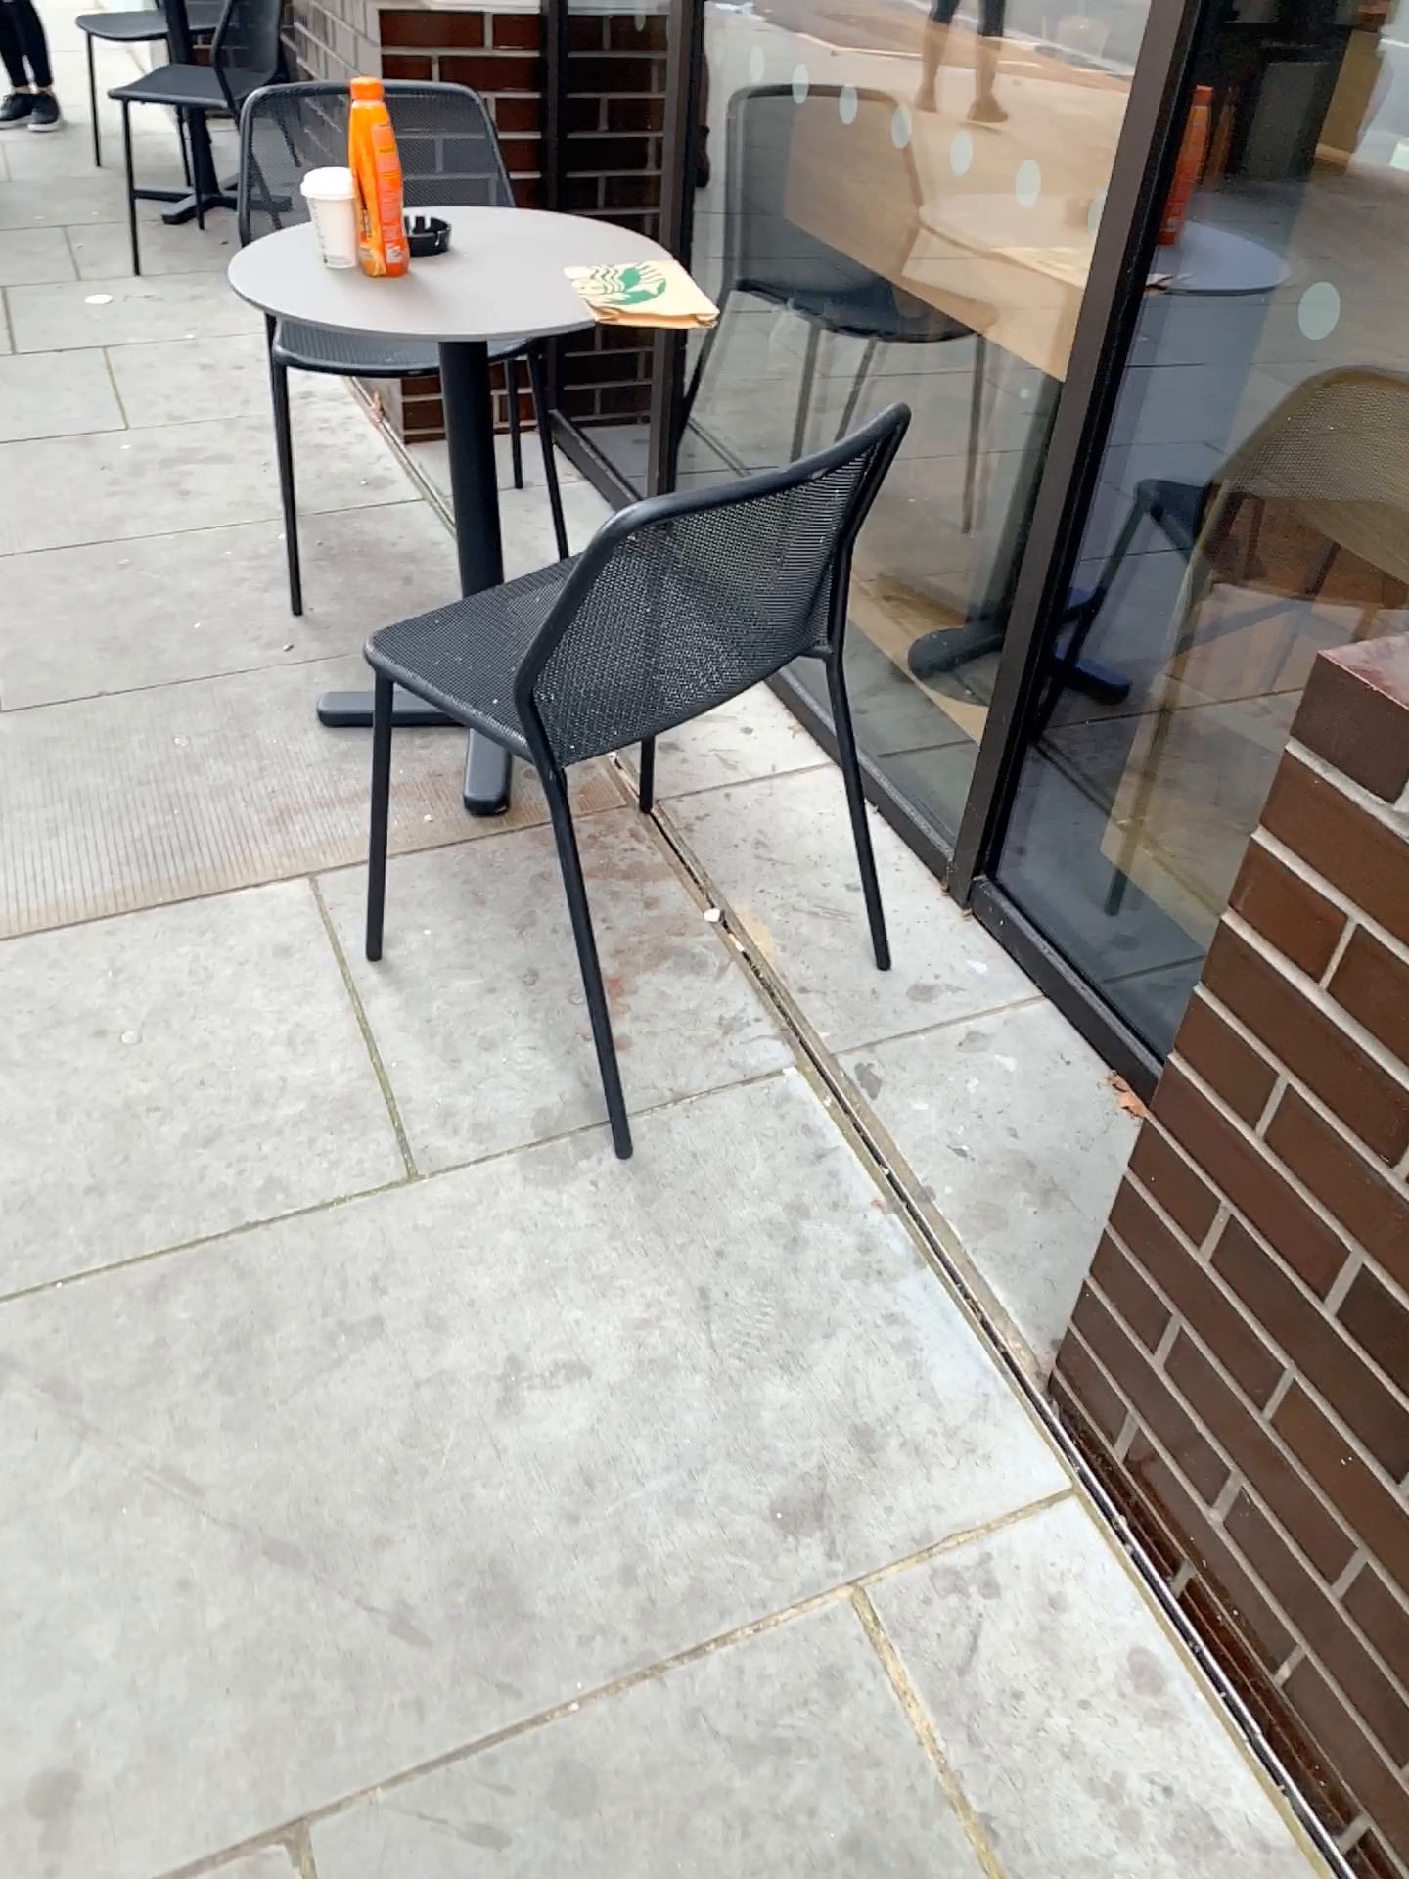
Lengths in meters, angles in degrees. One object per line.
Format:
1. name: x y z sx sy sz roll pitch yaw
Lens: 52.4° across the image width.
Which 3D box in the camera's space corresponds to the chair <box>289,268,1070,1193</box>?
1. chair: -0.053 -0.270 1.713 0.592 0.797 0.543 -29 51 -35
